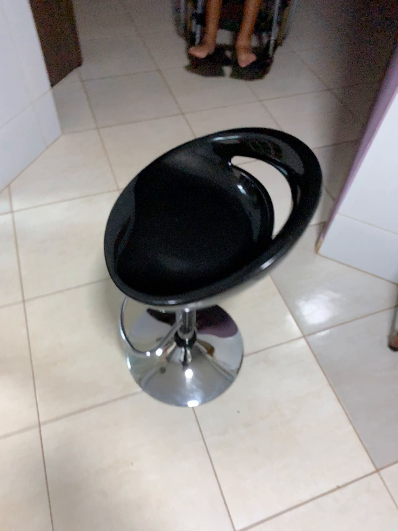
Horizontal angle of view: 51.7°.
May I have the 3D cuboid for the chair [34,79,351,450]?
[{"bbox_3d":[0.009,0.072,1.044,0.443,0.814,0.455,15,54,7],"label":"chair"}]
